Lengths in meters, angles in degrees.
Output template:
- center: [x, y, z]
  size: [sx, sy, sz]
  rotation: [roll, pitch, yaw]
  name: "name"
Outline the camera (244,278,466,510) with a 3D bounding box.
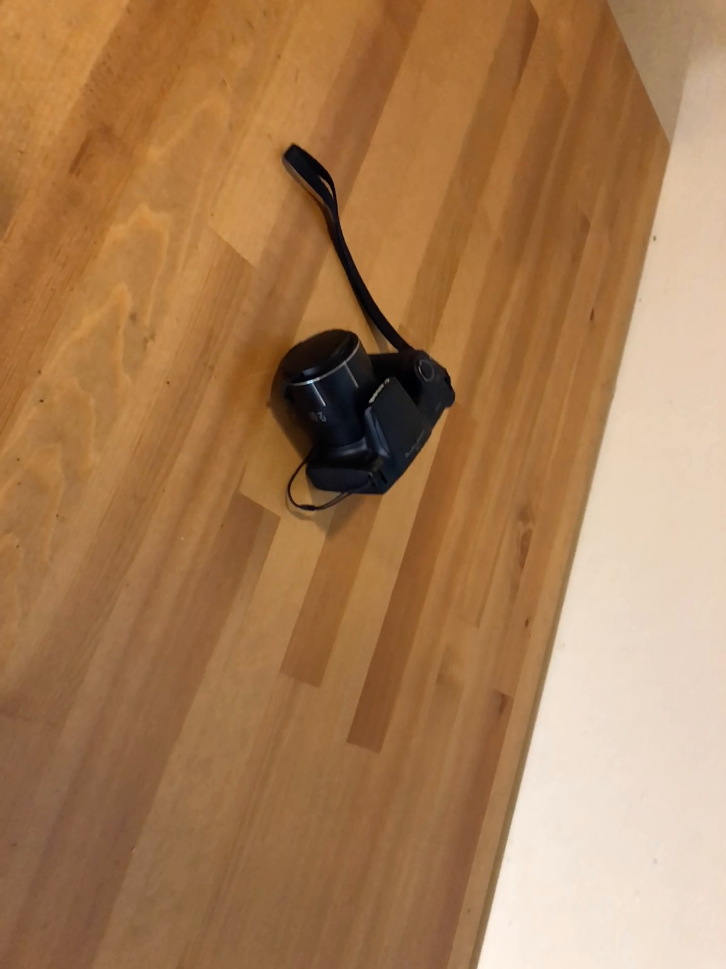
- center: [-0.001, -0.058, 0.520]
  size: [0.109, 0.062, 0.096]
  rotation: [-55, 130, -31]
  name: "camera"
